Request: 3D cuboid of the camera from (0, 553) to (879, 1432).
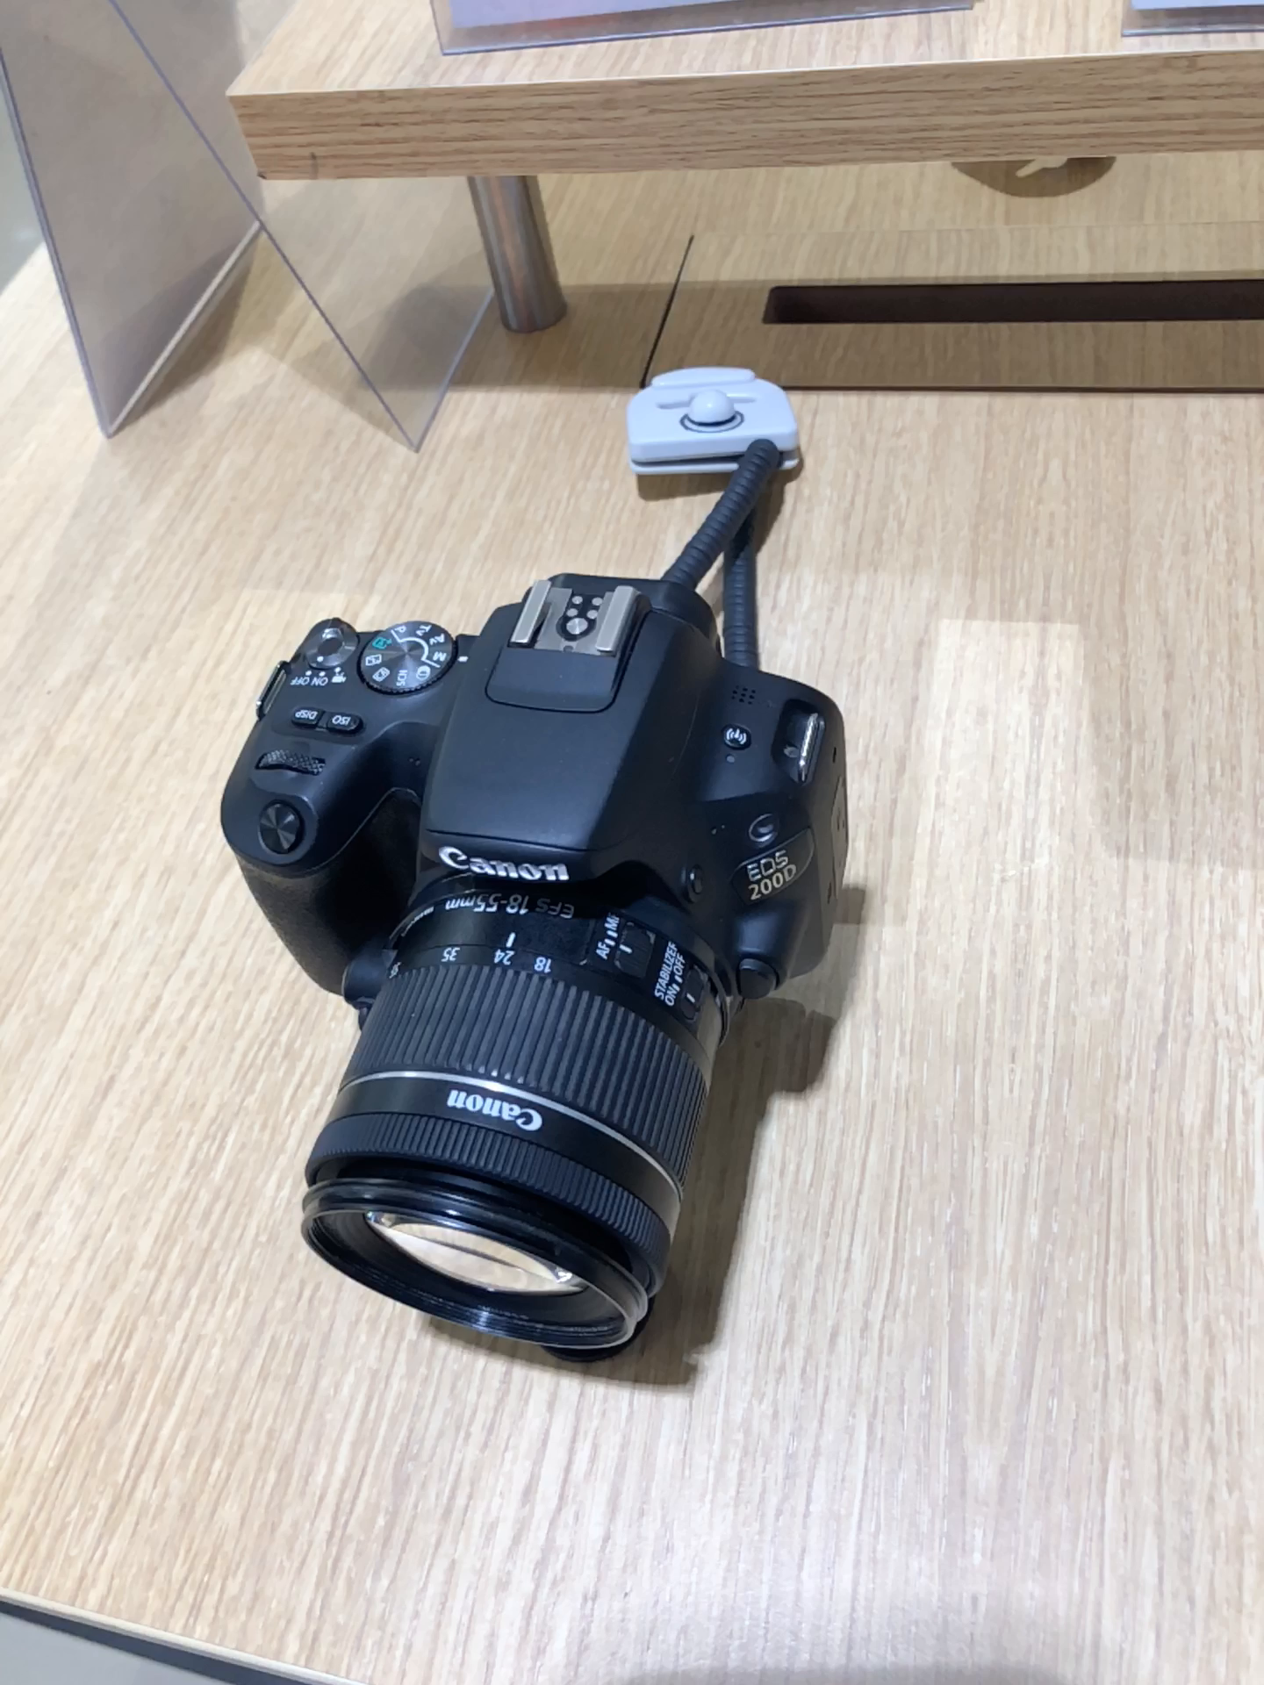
[{"bbox_3d":[-0.031,0.021,0.249,0.130,0.080,0.115,6,55,16],"label":"camera"}]
